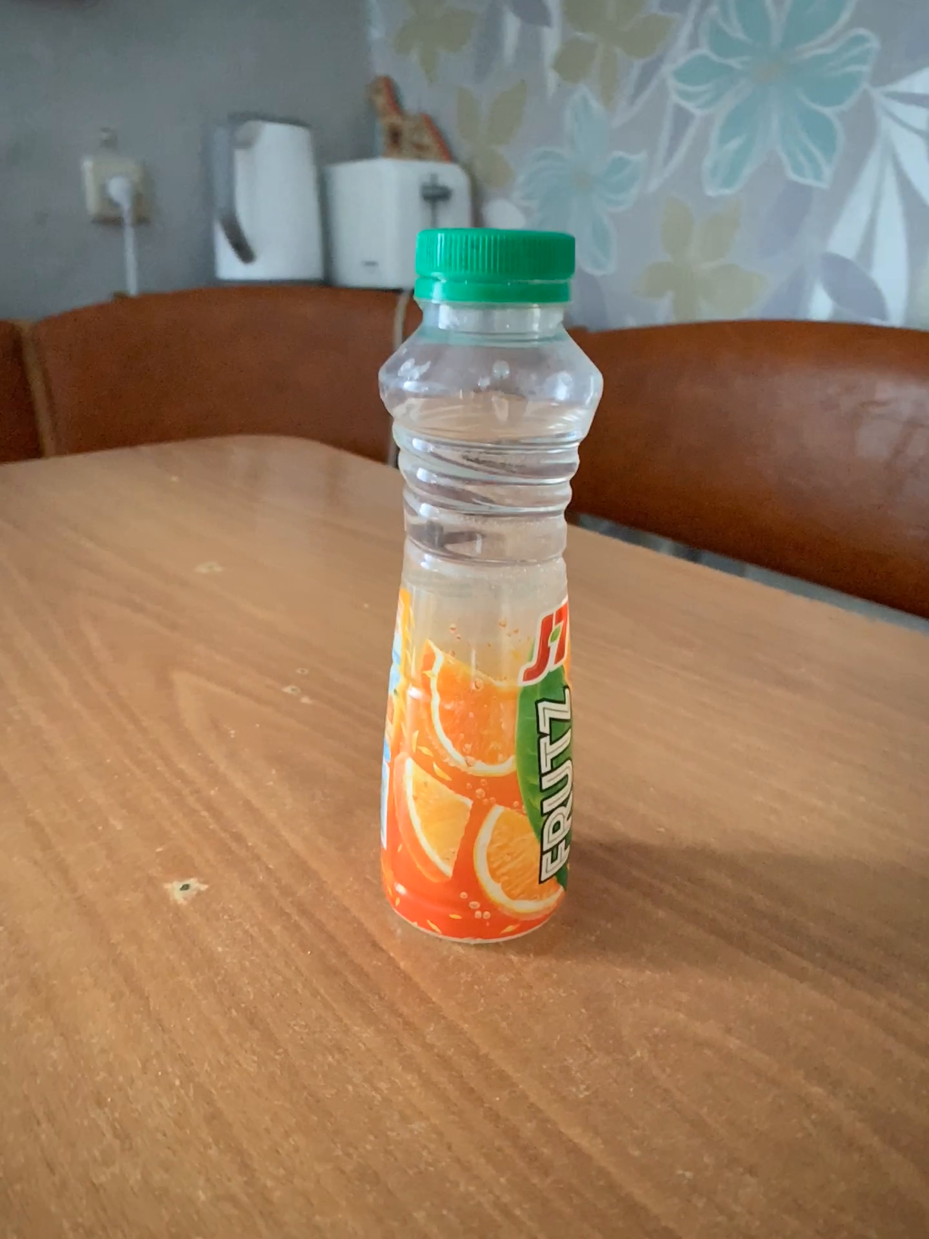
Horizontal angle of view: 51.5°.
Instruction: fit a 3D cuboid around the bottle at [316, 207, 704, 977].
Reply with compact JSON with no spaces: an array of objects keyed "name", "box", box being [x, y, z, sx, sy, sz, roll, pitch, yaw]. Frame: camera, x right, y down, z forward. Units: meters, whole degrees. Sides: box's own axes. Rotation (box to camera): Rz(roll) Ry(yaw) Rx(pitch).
[{"name":"bottle","box":[0.008,-0.011,0.282,0.070,0.201,0.070,1,22,0]}]
